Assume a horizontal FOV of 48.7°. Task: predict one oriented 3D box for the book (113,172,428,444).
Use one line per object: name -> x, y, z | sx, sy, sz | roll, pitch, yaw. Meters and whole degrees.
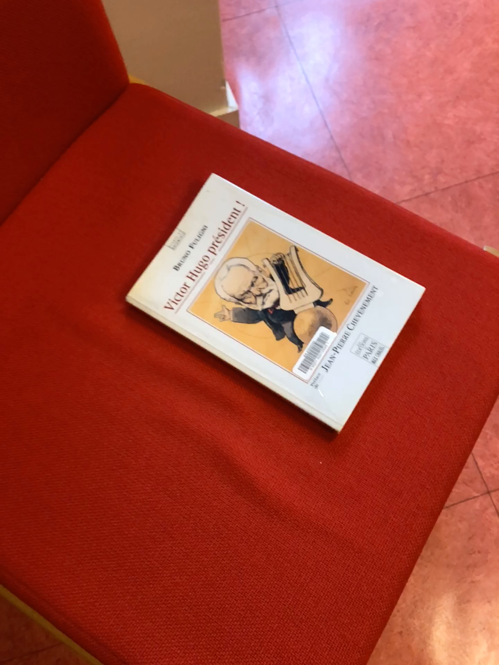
book -> 0.019, -0.028, 0.509 | 0.236, 0.040, 0.151 | 30, 75, 10
